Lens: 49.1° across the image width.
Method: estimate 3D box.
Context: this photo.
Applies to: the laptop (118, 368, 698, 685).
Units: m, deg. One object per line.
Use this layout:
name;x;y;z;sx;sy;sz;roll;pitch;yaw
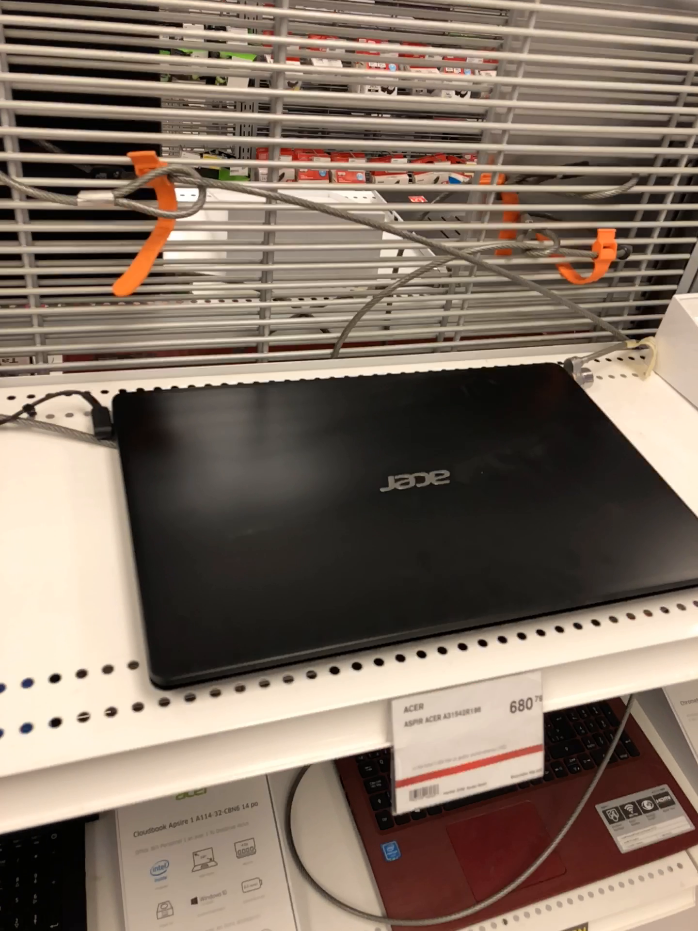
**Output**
laptop;0.040;0.011;0.508;0.355;0.006;0.232;-6;42;-19
